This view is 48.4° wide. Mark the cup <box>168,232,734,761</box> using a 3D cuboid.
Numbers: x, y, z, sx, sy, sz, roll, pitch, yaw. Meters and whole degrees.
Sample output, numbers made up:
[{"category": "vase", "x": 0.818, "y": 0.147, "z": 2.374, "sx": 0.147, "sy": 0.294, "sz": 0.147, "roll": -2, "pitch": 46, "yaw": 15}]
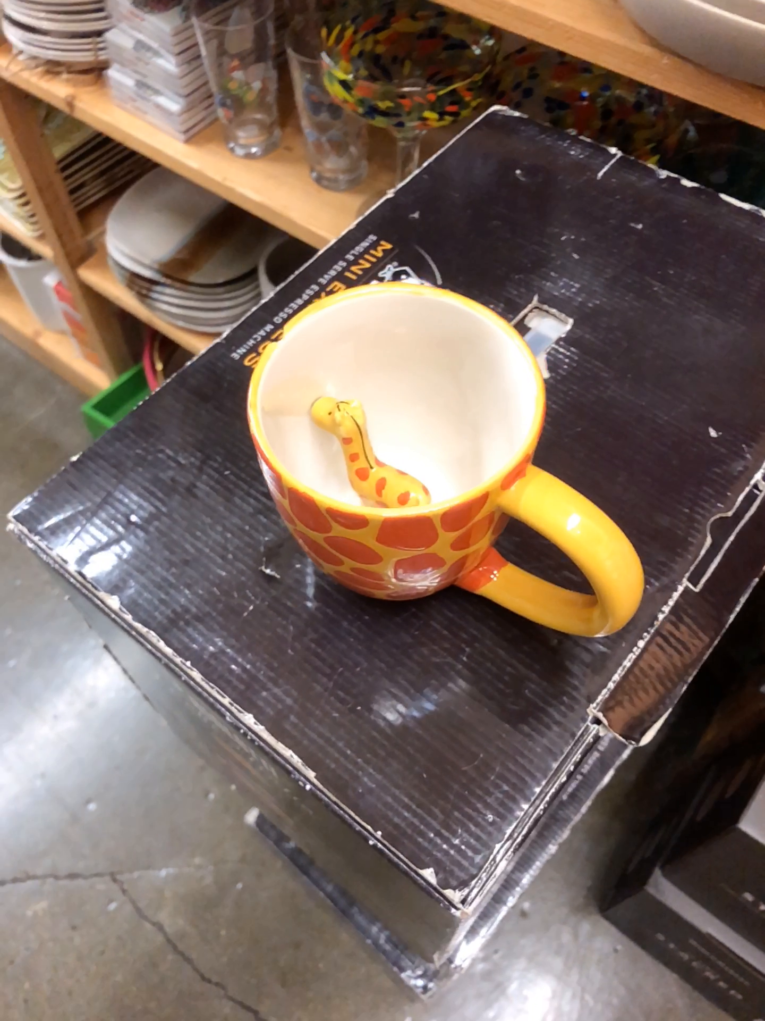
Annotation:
[{"category": "cup", "x": 0.020, "y": -0.009, "z": 0.282, "sx": 0.134, "sy": 0.067, "sz": 0.102, "roll": 36, "pitch": 67, "yaw": 20}]
